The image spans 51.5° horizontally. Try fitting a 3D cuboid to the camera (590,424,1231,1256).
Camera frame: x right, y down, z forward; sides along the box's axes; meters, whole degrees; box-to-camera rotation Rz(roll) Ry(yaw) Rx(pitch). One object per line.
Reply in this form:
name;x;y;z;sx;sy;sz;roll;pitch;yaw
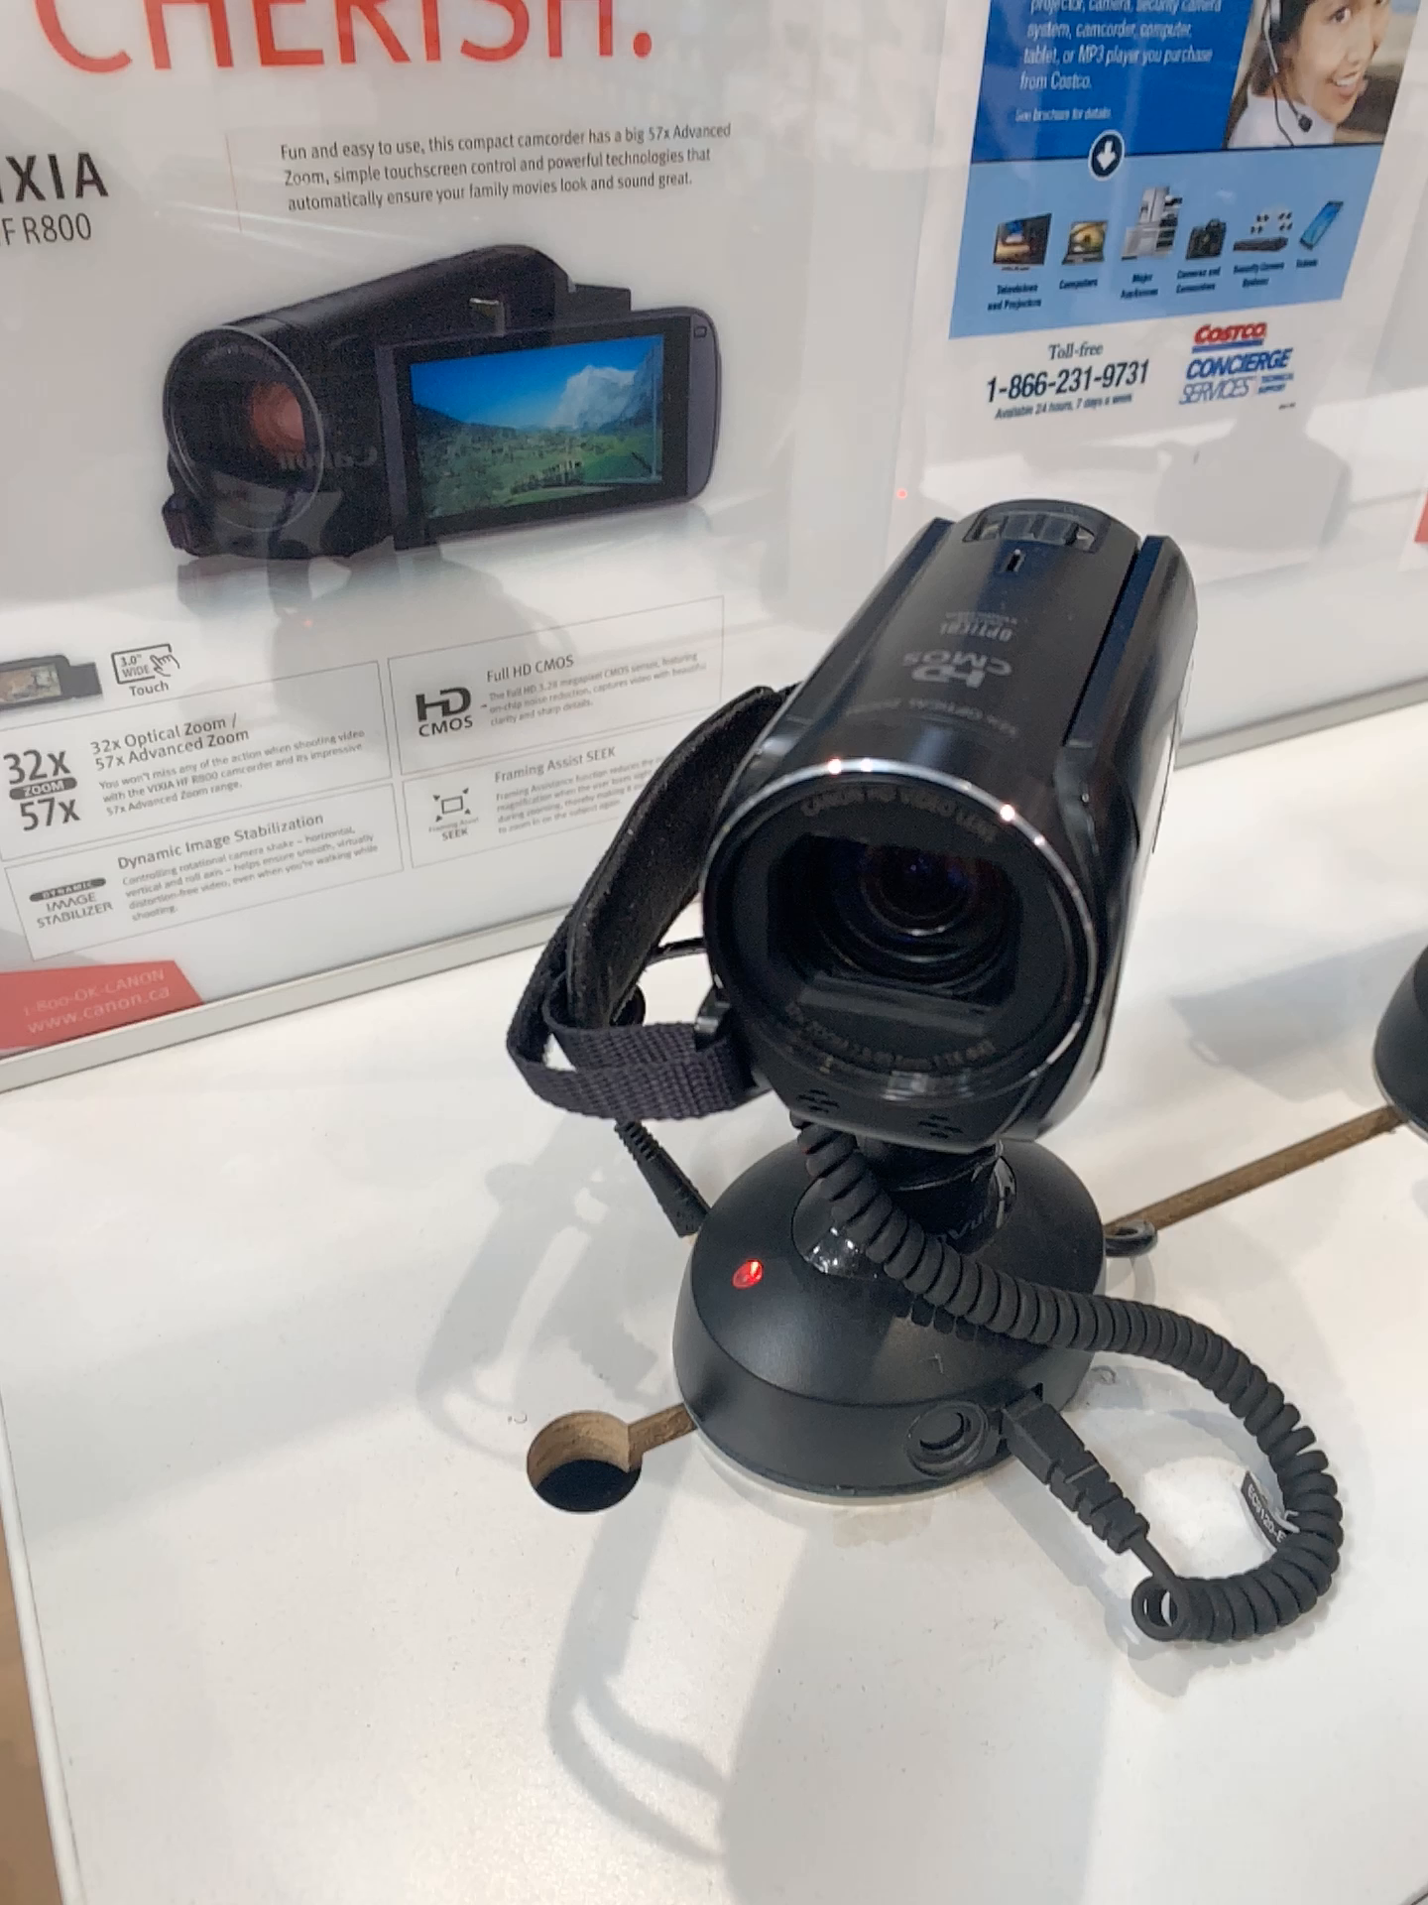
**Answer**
camera;0.032;-0.025;0.200;0.058;0.054;0.114;12;36;13
